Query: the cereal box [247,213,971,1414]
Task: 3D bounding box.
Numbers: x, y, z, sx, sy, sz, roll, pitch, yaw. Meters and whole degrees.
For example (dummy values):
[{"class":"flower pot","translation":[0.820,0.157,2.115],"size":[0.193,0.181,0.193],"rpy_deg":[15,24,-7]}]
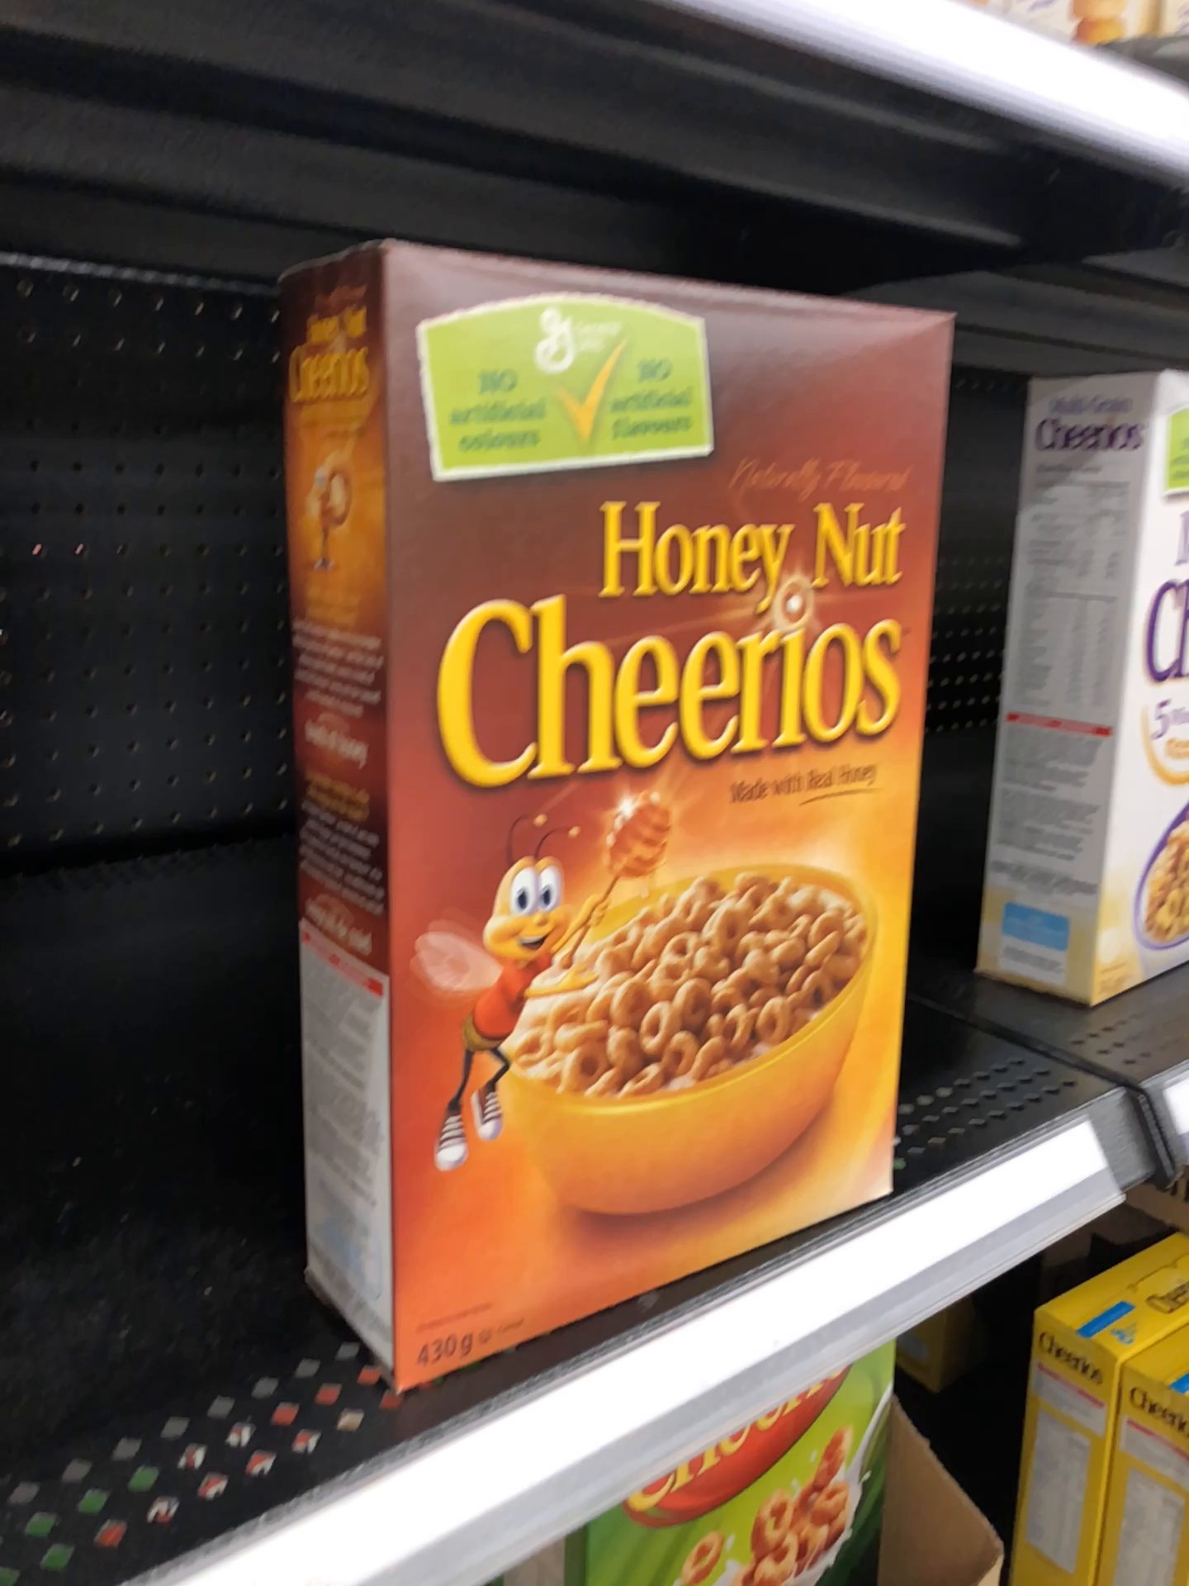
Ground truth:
[{"class":"cereal box","translation":[0.008,0.001,0.401],"size":[0.200,0.299,0.070],"rpy_deg":[-7,16,-34]}]
